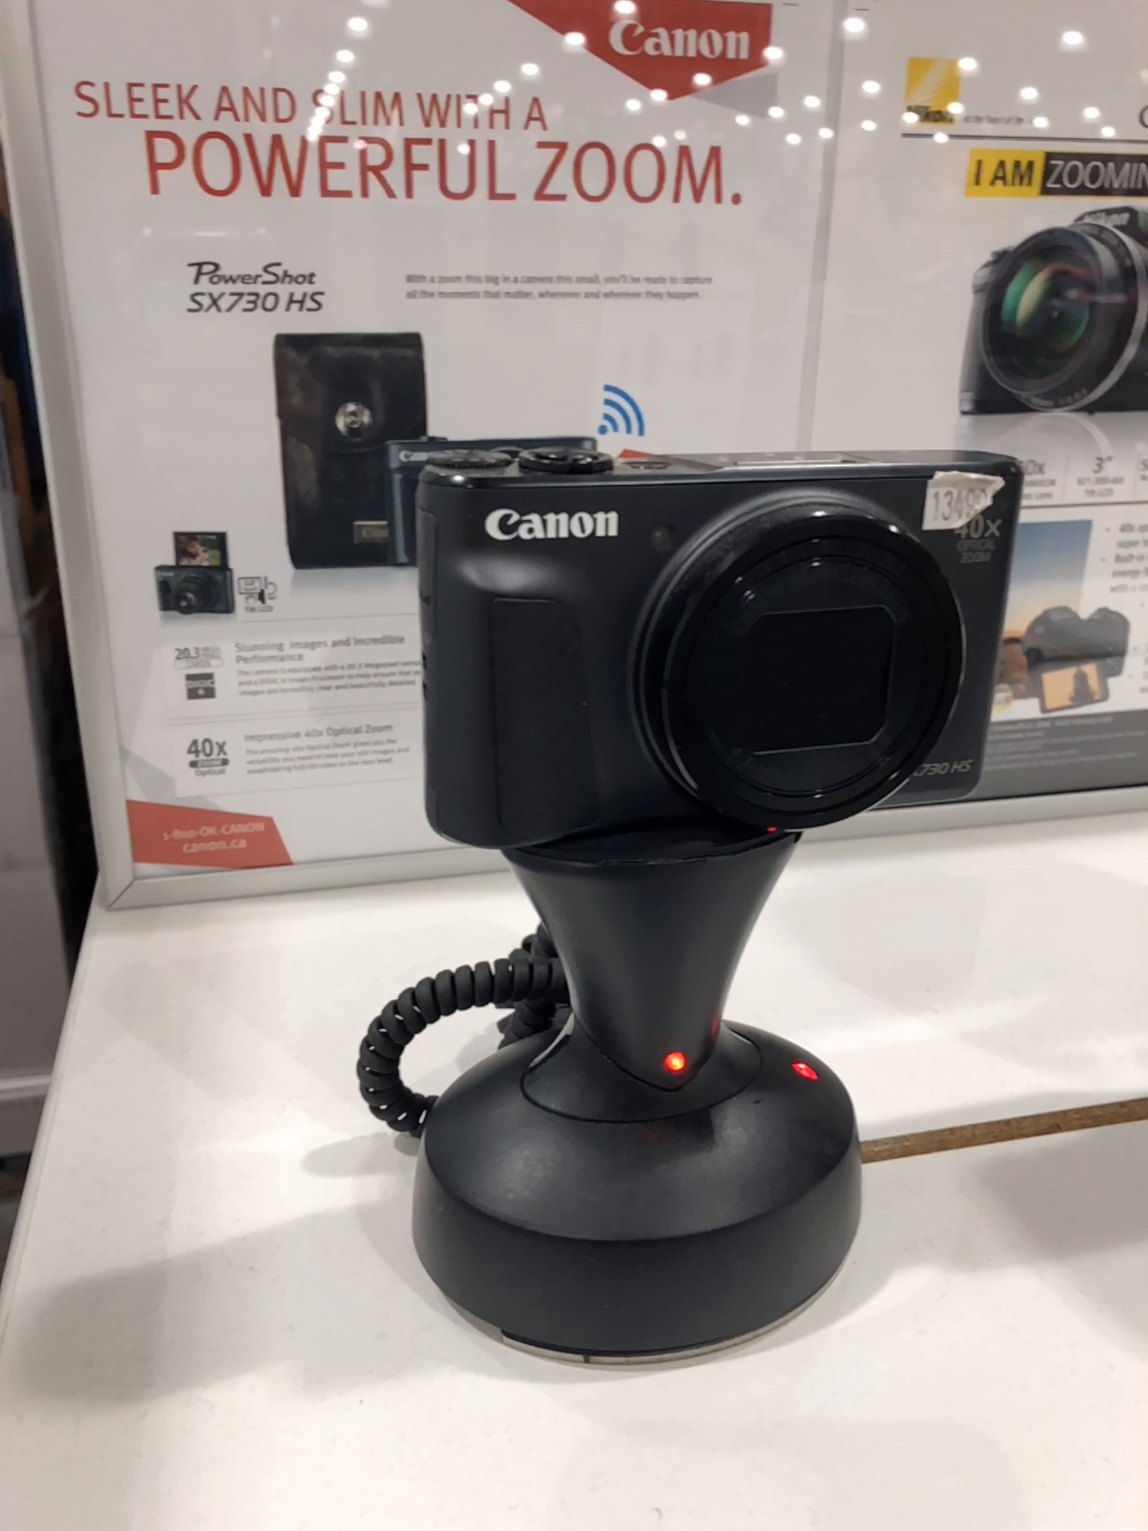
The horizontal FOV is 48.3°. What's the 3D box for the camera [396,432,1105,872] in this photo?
[{"bbox_3d":[0.028,-0.023,0.223,0.110,0.060,0.040,-6,22,-15],"label":"camera"}]
